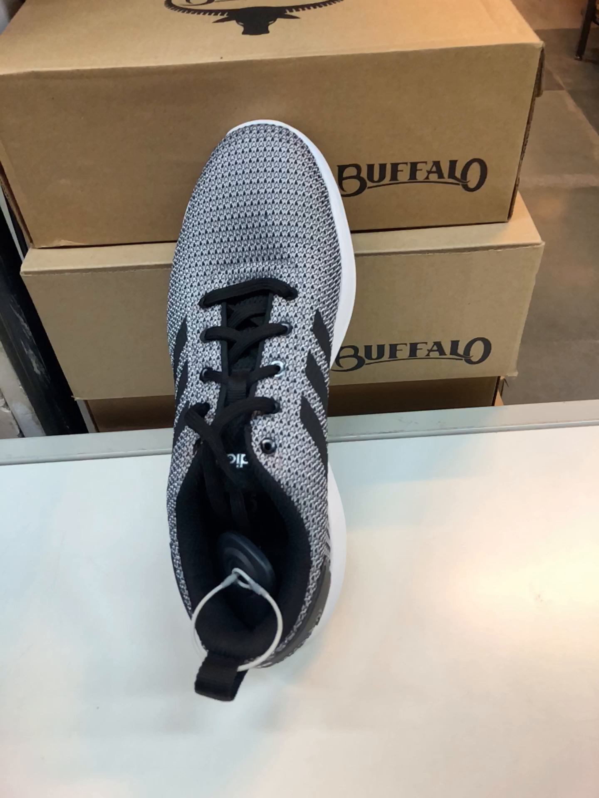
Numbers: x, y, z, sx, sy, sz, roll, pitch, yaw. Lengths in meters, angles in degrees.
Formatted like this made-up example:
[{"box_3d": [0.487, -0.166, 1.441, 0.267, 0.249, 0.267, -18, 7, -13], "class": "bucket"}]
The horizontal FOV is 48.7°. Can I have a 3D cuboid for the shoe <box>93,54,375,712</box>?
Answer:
[{"box_3d": [-0.026, -0.009, 0.333, 0.112, 0.098, 0.282, -3, 80, 7], "class": "shoe"}]
